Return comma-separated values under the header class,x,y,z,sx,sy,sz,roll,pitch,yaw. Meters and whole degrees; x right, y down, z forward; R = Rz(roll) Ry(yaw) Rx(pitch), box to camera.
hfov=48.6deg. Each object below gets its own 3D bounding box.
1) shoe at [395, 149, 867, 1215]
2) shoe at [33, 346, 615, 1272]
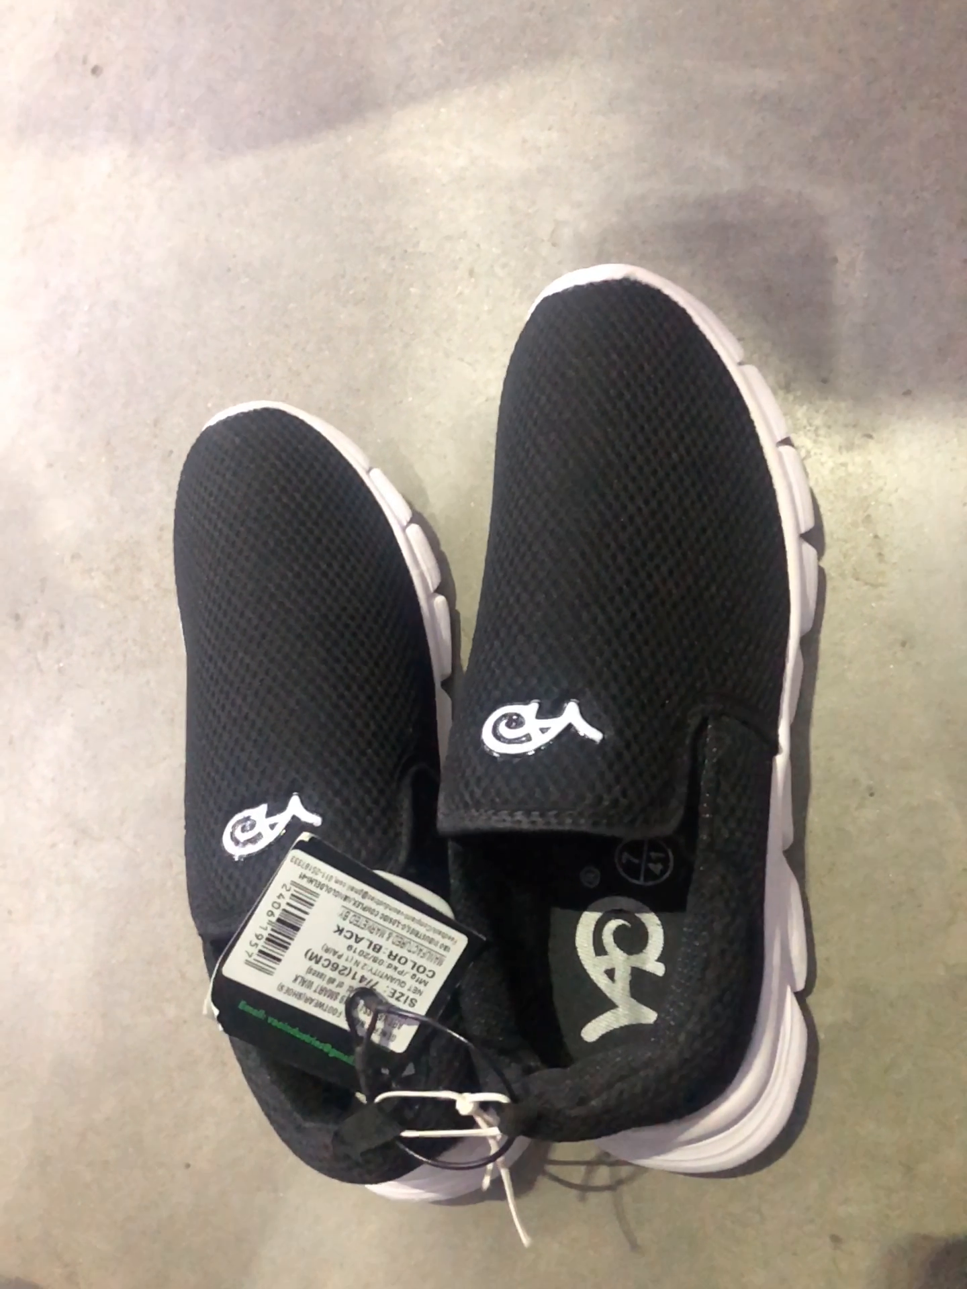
class,x,y,z,sx,sy,sz,roll,pitch,yaw
shoe,0.046,0.010,0.339,0.110,0.100,0.270,-6,80,30
shoe,-0.056,0.051,0.374,0.110,0.100,0.260,-20,76,17
